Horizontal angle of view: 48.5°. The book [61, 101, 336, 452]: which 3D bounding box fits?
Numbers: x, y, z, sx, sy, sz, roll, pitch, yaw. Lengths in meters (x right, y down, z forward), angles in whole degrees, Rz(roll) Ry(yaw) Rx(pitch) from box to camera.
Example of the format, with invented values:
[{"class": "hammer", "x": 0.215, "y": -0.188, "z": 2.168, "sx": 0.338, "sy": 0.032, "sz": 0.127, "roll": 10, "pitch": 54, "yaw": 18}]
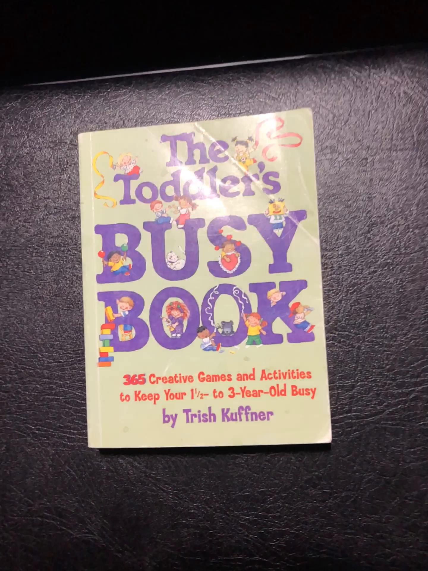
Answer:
[{"class": "book", "x": -0.010, "y": -0.003, "z": 0.265, "sx": 0.136, "sy": 0.033, "sz": 0.176, "roll": -4, "pitch": 86, "yaw": 6}]
